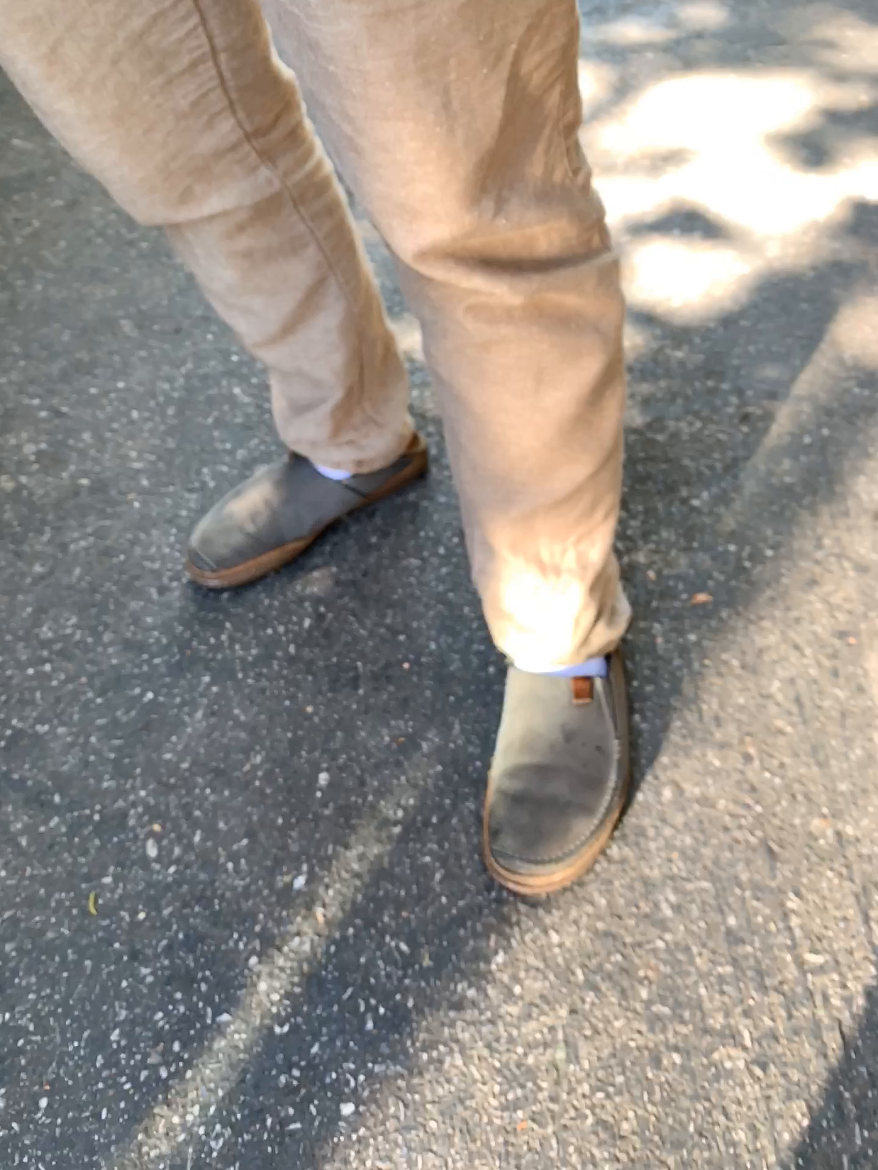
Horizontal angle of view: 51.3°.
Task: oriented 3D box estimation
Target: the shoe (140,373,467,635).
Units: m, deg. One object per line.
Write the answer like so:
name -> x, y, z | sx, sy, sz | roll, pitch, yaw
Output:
shoe -> -0.133, -0.093, 0.951 | 0.320, 0.060, 0.120 | -36, 55, -19

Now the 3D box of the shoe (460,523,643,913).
shoe -> 0.105, 0.096, 0.775 | 0.120, 0.080, 0.321 | 3, 53, 11
